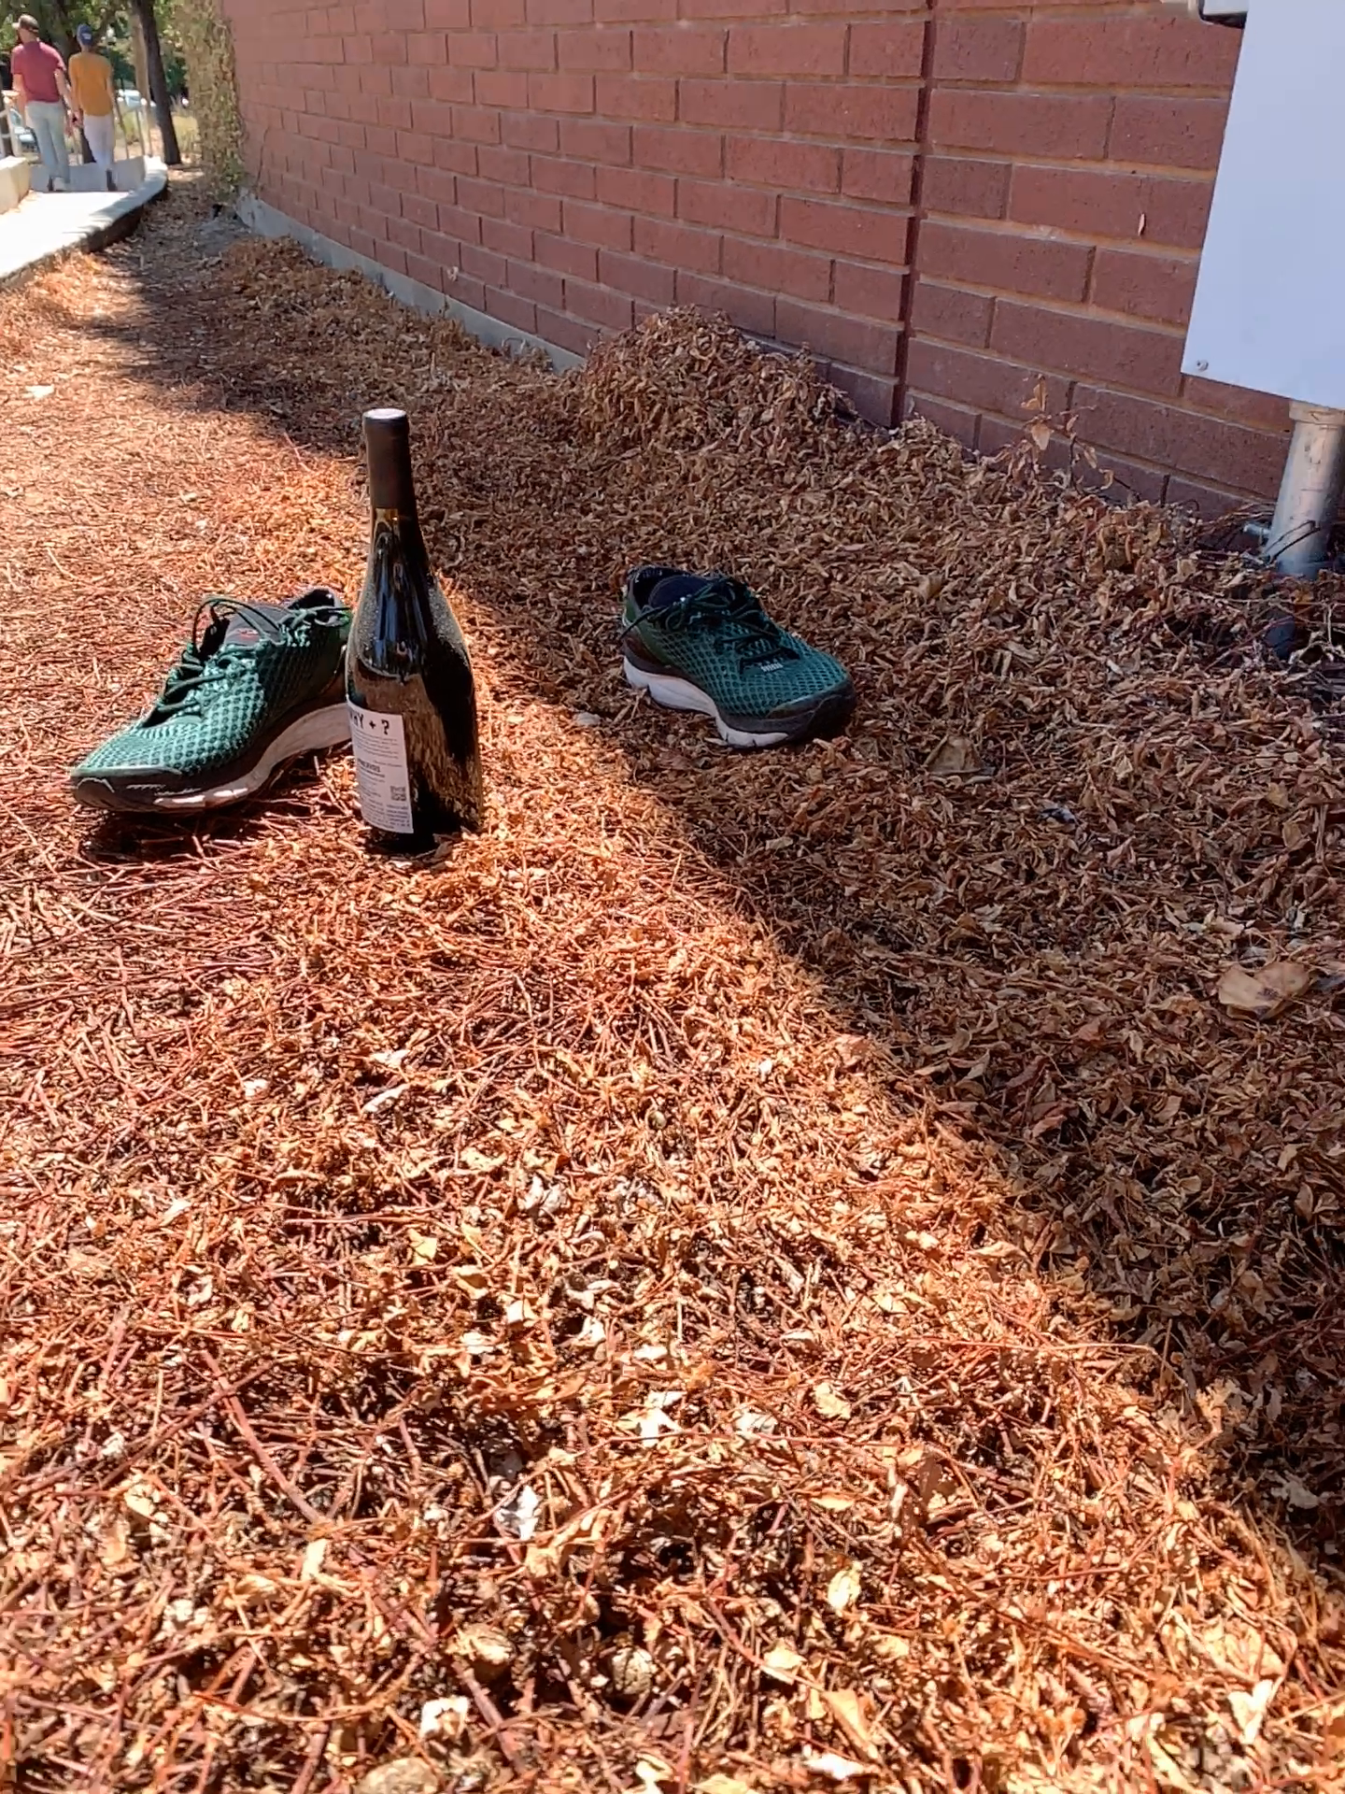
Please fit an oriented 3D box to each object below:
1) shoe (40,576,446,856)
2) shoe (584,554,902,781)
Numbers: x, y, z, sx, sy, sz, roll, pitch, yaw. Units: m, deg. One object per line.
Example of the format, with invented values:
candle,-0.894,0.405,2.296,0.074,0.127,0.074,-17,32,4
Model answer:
shoe,-0.315,-0.152,1.068,0.140,0.089,0.301,12,33,18
shoe,0.052,-0.207,1.190,0.130,0.089,0.271,-20,37,-30
